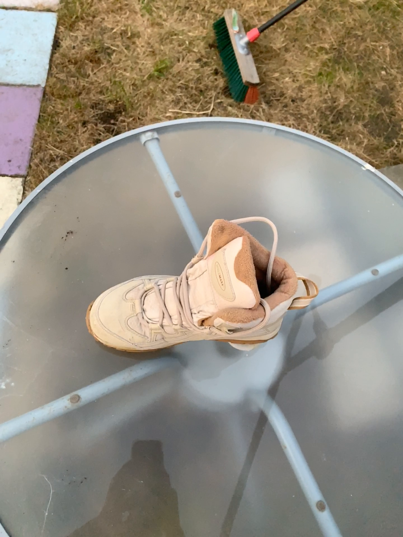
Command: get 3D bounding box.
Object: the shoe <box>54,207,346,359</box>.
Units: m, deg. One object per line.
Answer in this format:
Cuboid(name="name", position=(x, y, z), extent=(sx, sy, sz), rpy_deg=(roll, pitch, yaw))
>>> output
Cuboid(name="shoe", position=(-0.008, 0.032, 0.509), extent=(0.280, 0.199, 0.121), rpy_deg=(1, 67, -6))
